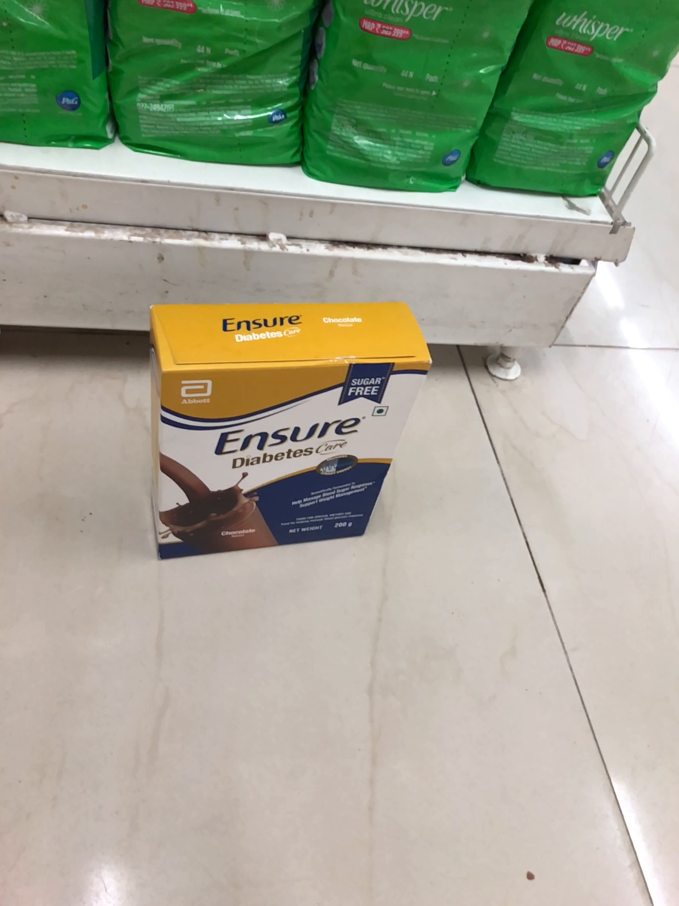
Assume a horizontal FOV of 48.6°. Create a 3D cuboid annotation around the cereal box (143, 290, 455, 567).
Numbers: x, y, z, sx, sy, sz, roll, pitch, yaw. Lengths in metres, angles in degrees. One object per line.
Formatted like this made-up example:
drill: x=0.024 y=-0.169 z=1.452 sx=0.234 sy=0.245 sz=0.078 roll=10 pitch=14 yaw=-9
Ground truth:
cereal box: x=-0.034 y=-0.008 z=0.415 sx=0.140 sy=0.169 sz=0.050 roll=-4 pitch=54 yaw=-17
